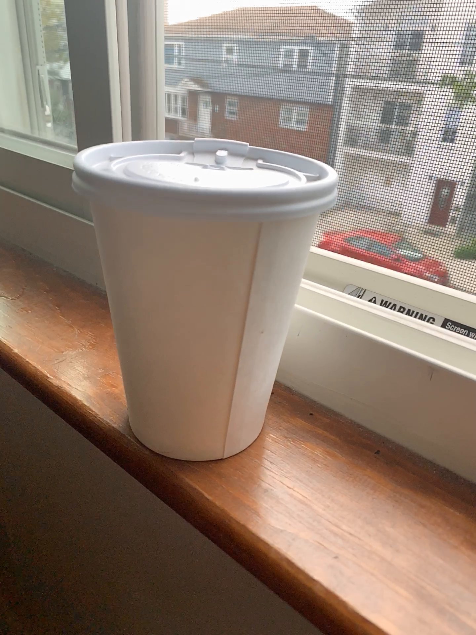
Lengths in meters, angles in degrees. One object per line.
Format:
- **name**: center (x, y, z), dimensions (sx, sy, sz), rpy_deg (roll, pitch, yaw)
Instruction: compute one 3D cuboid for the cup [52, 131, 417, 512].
- **cup**: center (-0.010, -0.011, 0.187), dimensions (0.090, 0.099, 0.090), rpy_deg (3, 27, -2)
